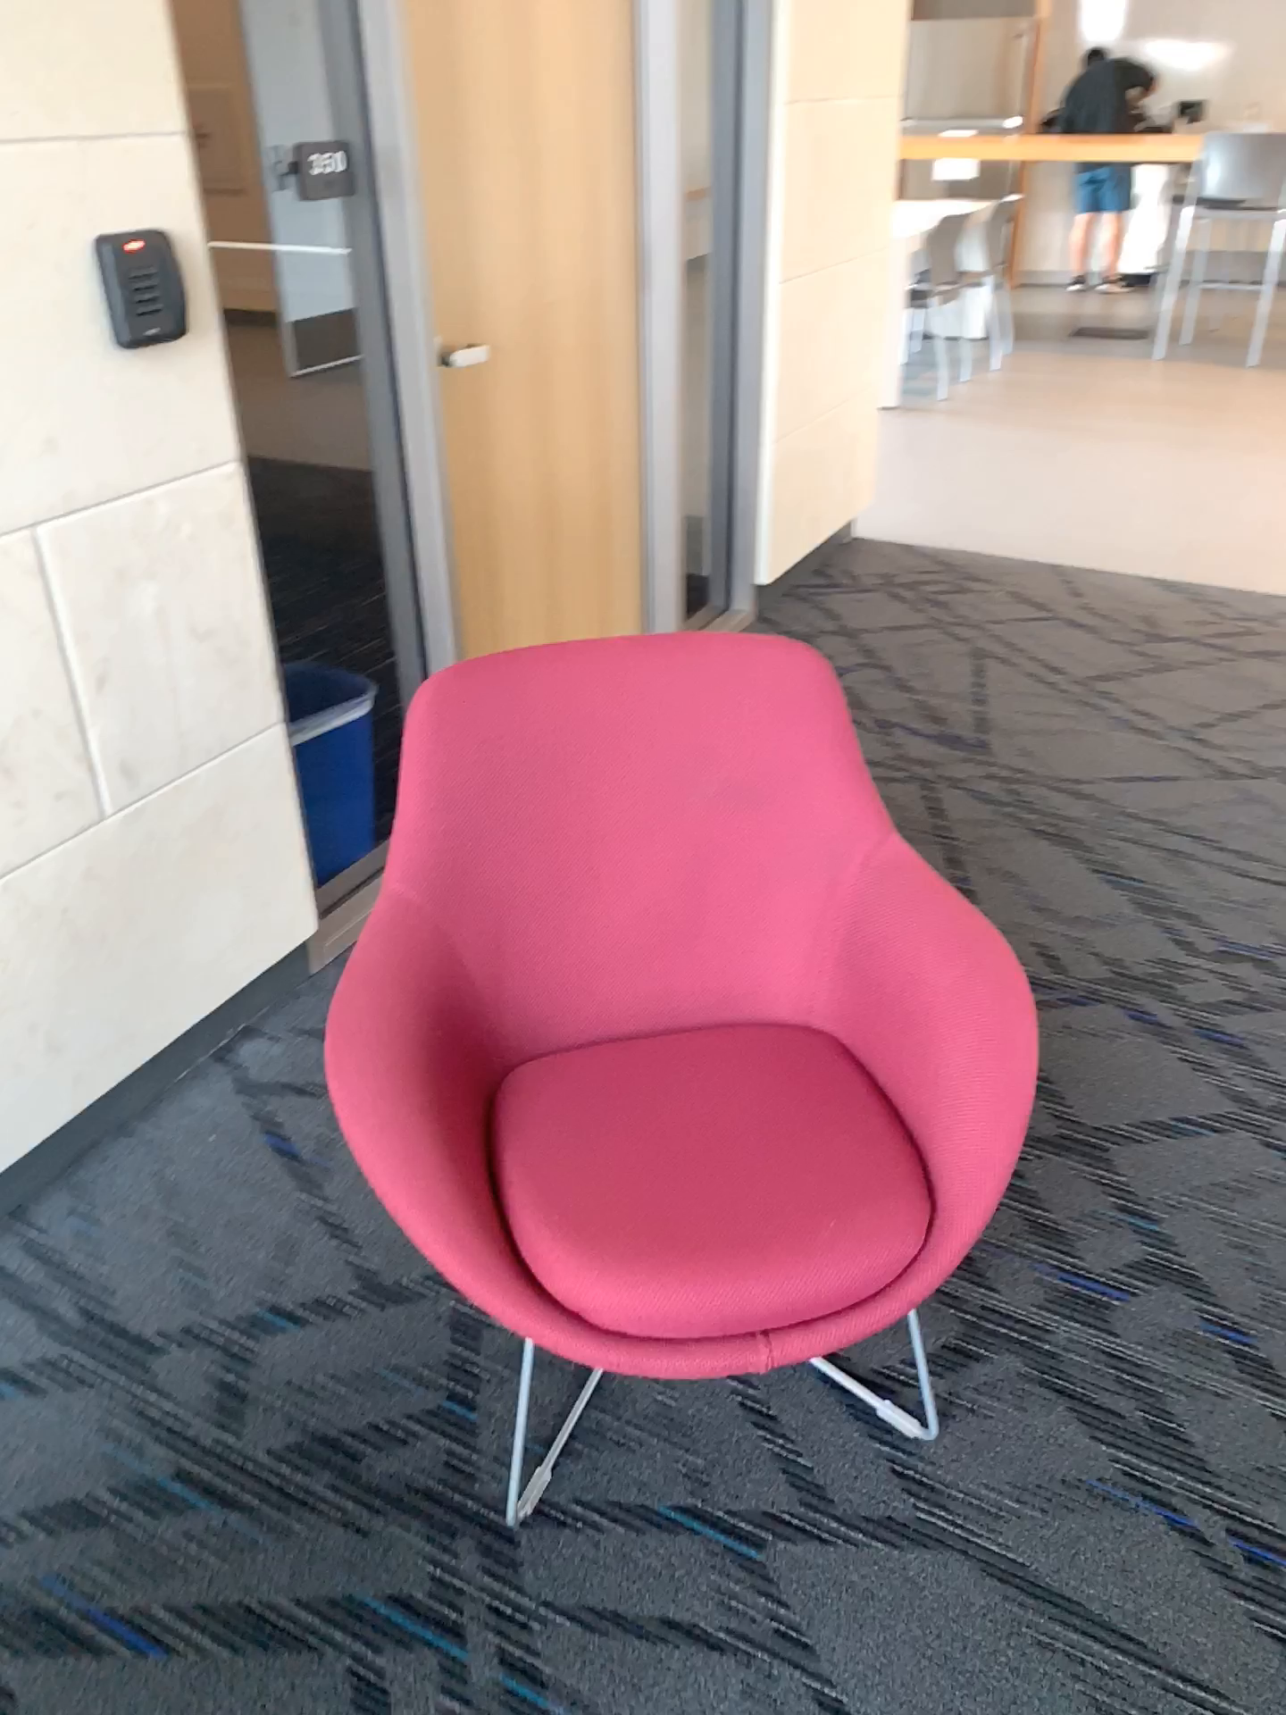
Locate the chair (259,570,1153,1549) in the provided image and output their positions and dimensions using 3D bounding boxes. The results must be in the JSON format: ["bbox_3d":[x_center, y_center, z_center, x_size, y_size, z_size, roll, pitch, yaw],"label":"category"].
[{"bbox_3d":[0.014,0.173,1.431,0.690,0.754,0.615,-6,30,-9],"label":"chair"}]
